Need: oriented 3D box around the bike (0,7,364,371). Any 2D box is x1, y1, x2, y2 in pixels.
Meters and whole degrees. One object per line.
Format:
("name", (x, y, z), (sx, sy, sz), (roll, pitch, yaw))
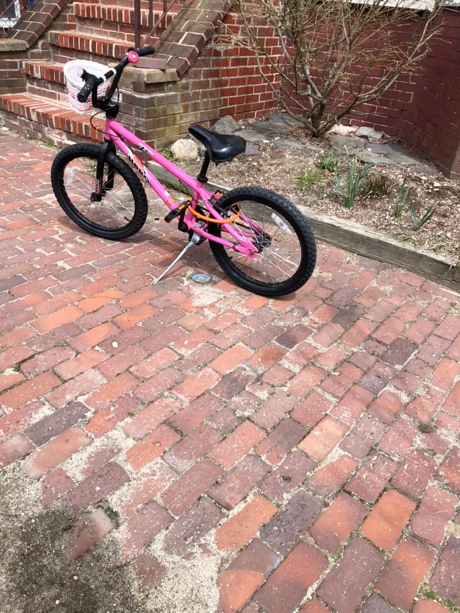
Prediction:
("bike", (-0.309, -0.546, 2.019), (1.339, 0.906, 0.714), (21, 34, 19))
